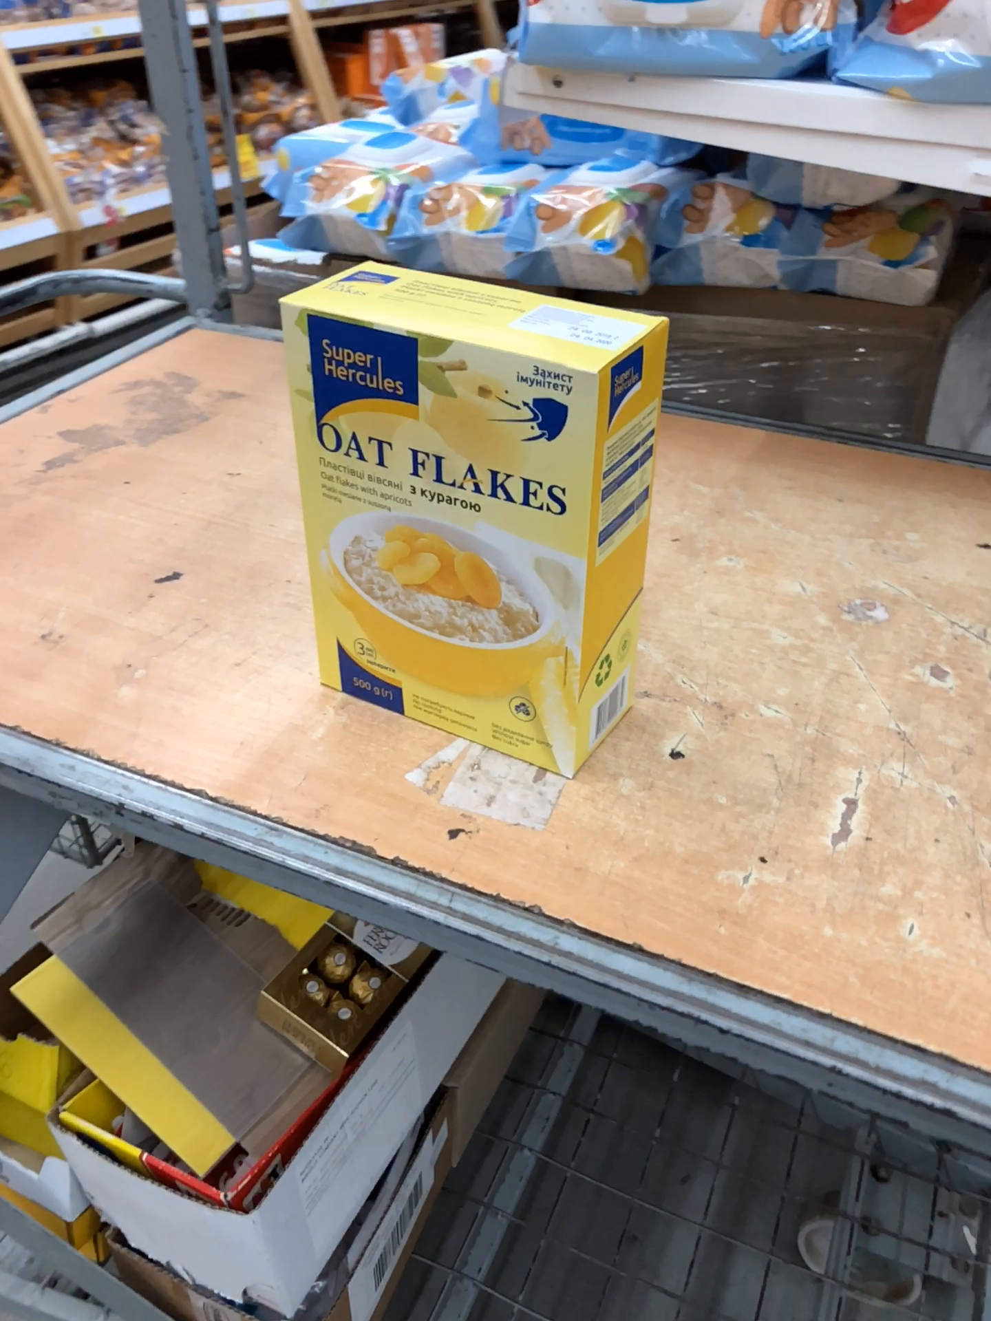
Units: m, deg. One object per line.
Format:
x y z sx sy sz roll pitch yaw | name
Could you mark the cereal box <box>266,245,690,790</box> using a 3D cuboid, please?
-0.007 -0.065 0.492 0.150 0.199 0.080 19 40 26 | cereal box
